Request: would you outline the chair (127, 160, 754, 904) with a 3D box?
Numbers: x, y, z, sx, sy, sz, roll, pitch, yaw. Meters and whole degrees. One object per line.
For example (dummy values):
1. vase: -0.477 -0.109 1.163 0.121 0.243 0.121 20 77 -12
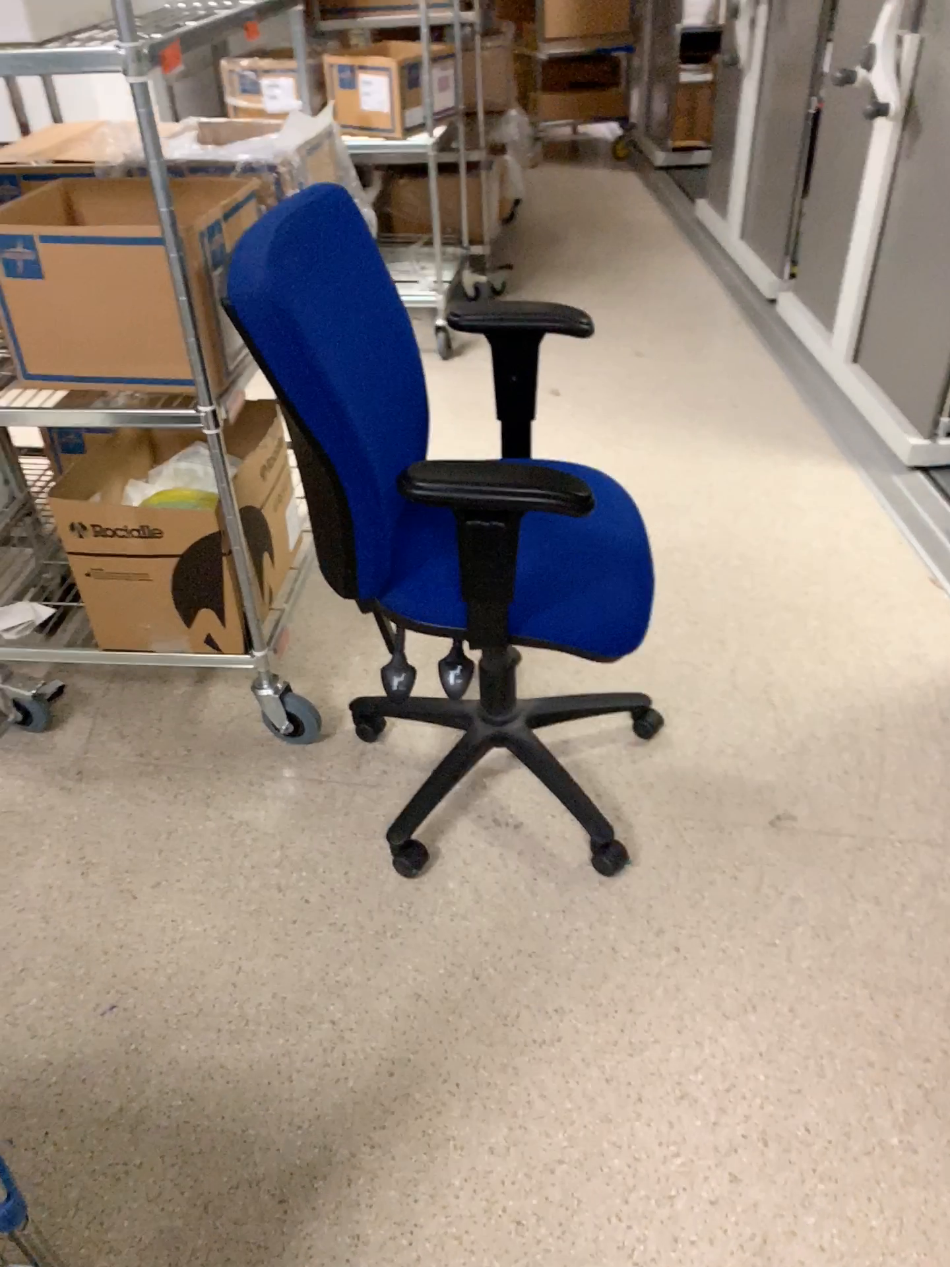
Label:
1. chair: 0.009 -0.169 1.570 0.666 0.949 0.685 2 37 7
